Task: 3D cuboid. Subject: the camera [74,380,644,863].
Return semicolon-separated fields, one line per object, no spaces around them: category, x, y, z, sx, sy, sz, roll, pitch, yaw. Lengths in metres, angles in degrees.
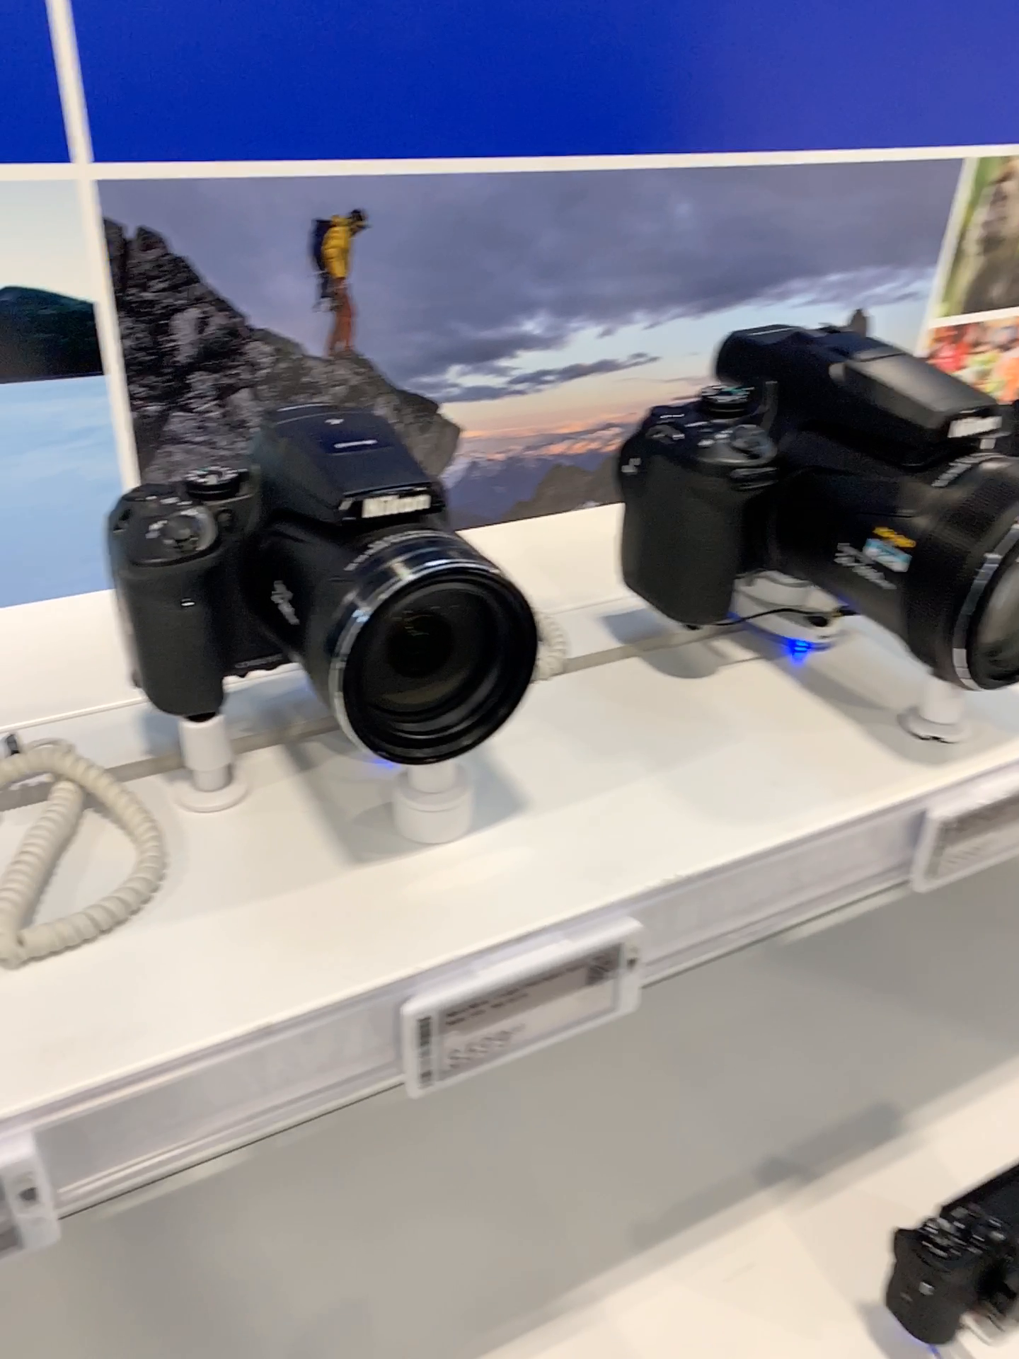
camera;-0.061;-0.037;0.398;0.160;0.099;0.151;-14;34;-23

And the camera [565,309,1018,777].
camera;0.152;-0.081;0.466;0.160;0.109;0.221;-15;34;-24

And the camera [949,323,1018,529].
camera;0.336;-0.153;0.622;0.120;0.089;0.060;-17;35;-28
